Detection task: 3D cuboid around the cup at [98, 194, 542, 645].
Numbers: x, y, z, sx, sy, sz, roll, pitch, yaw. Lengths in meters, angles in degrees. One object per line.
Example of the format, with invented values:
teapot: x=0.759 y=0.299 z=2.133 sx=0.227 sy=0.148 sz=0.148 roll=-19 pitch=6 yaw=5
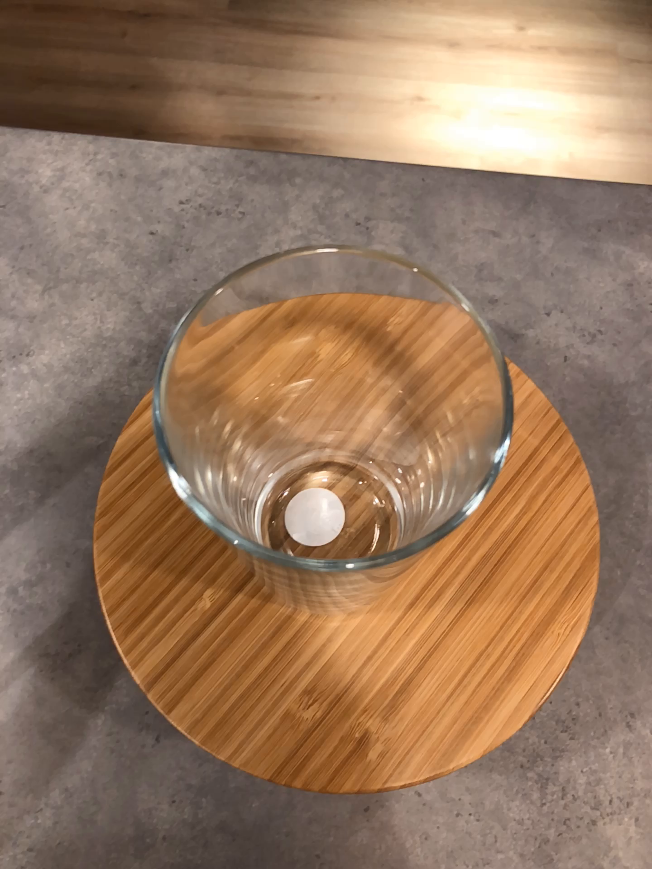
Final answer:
cup: x=-0.004 y=0.008 z=0.248 sx=0.100 sy=0.140 sz=0.100 roll=0 pitch=66 yaw=-1
